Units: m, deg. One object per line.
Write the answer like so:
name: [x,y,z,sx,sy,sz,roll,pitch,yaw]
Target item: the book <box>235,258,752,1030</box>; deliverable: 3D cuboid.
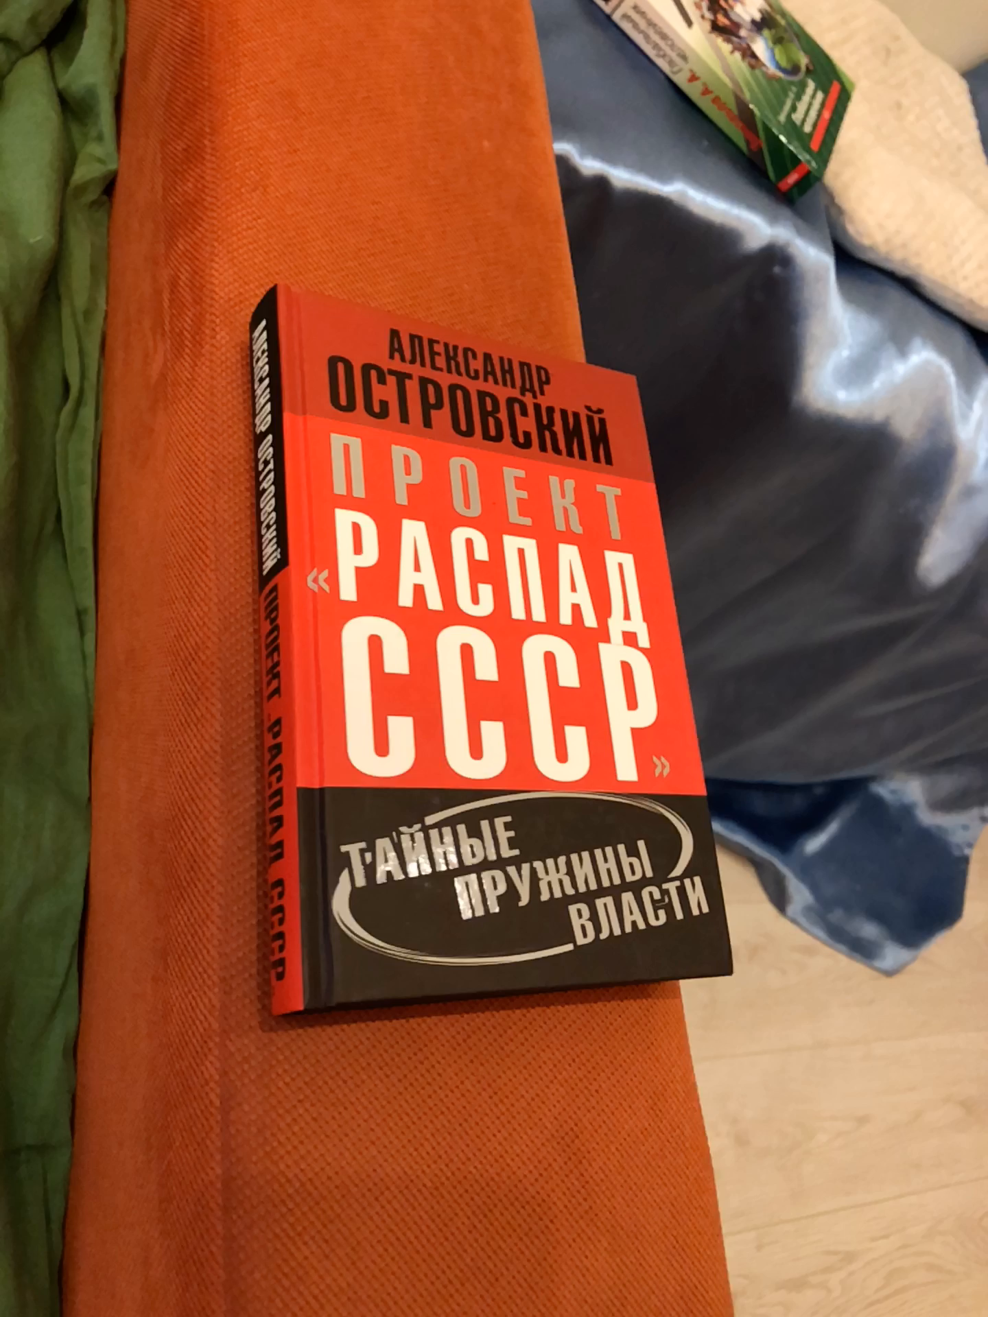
book: [-0.003,-0.006,0.321,0.136,0.030,0.207,6,67,-30]
